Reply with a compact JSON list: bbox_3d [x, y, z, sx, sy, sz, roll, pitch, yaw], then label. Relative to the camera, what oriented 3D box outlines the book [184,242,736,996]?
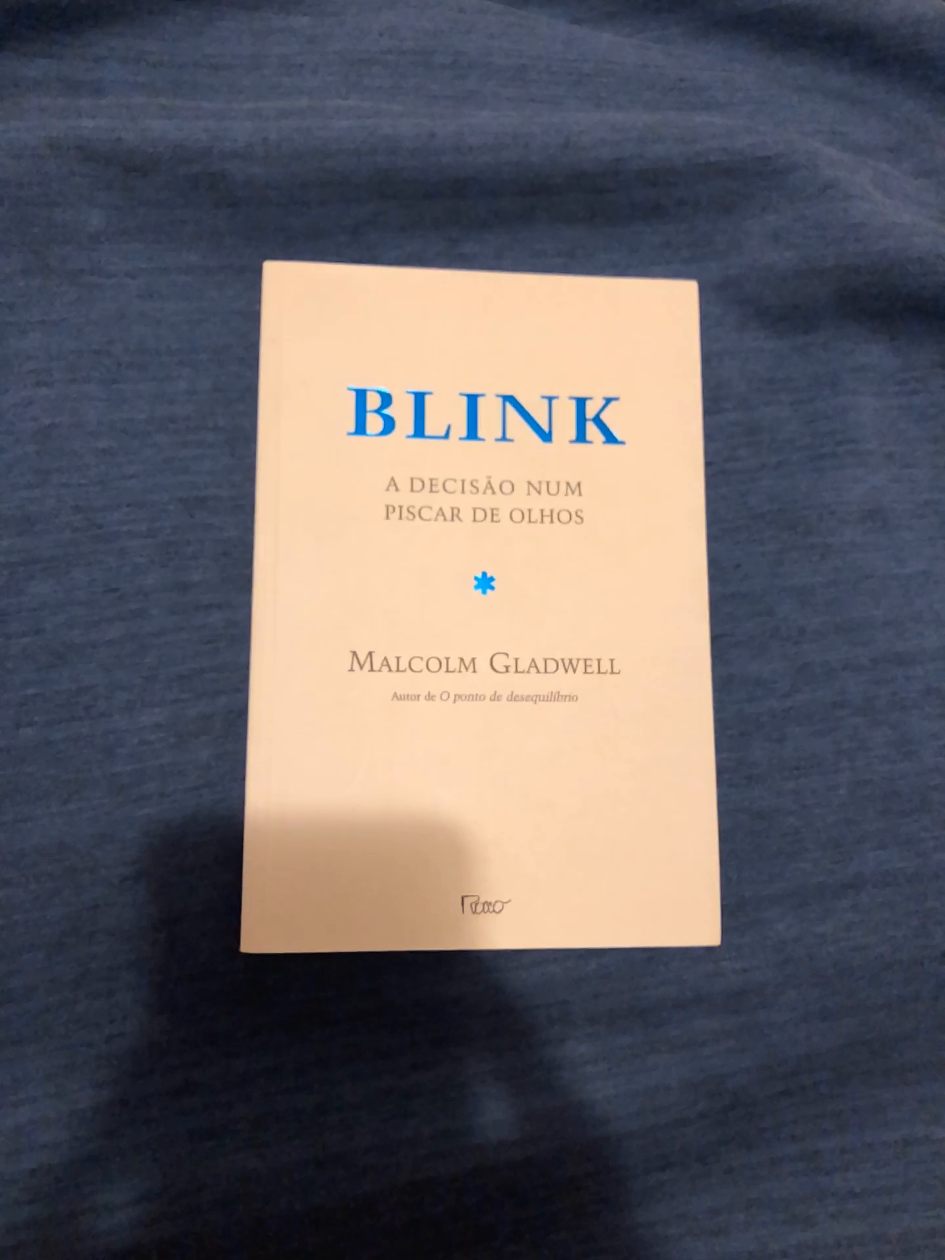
[{"bbox_3d":[-0.004,-0.008,0.322,0.150,0.030,0.220,1,77,-7],"label":"book"}]
